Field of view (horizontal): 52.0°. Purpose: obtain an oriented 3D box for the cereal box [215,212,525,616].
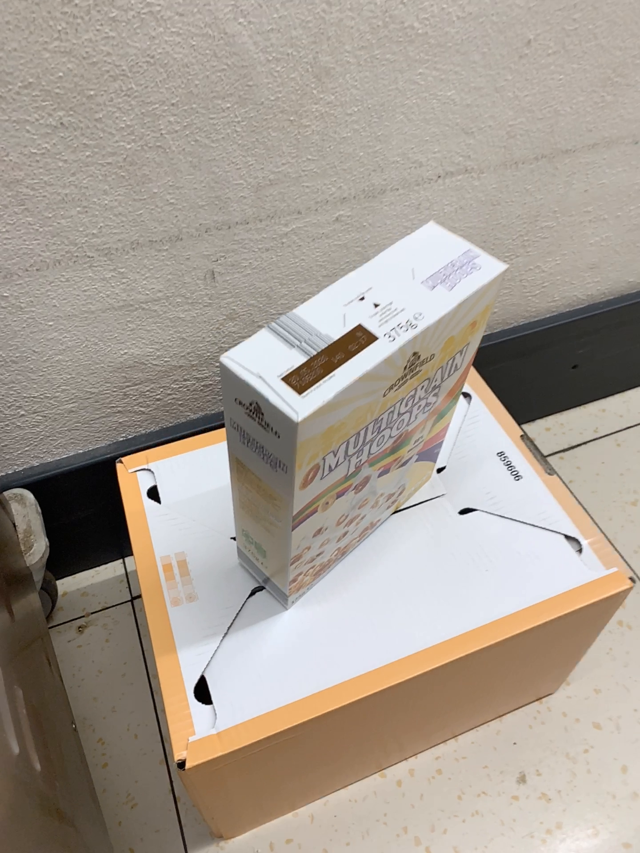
[{"bbox_3d":[0.029,0.002,0.489,0.070,0.248,0.201,39,59,23],"label":"cereal box"}]
